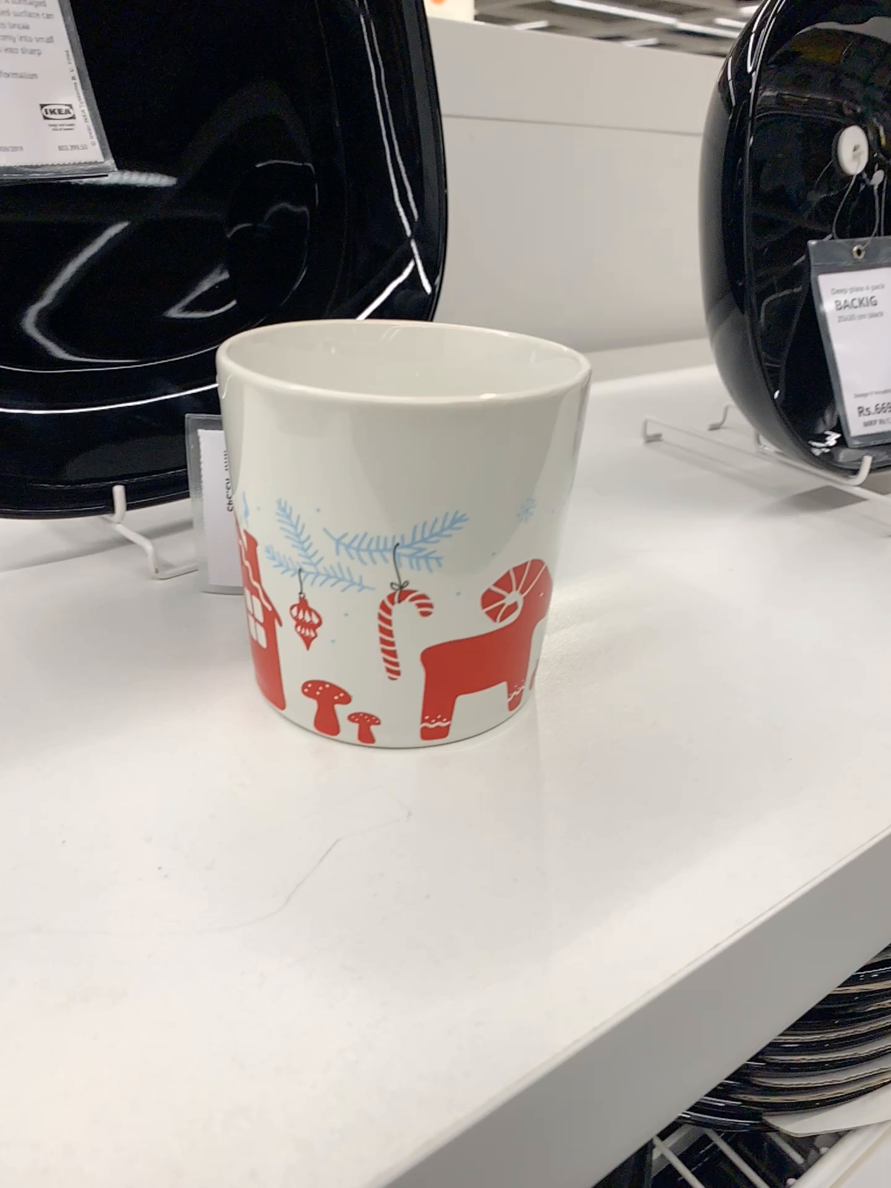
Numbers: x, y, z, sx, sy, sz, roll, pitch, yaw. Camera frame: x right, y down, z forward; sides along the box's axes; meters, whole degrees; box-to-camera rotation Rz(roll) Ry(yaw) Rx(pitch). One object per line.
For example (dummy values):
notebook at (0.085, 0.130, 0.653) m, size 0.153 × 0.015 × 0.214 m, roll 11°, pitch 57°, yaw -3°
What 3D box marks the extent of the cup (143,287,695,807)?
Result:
cup at (0.001, -0.026, 0.247) m, size 0.090 × 0.090 × 0.120 m, roll 14°, pitch 27°, yaw 24°
